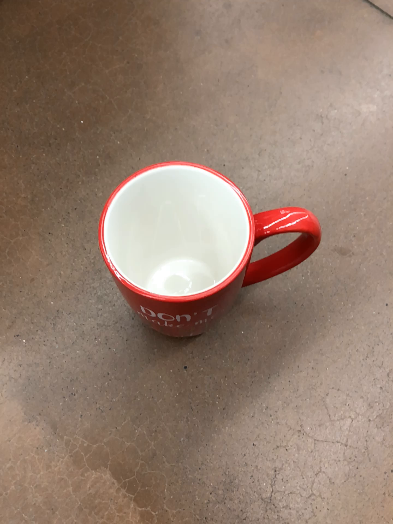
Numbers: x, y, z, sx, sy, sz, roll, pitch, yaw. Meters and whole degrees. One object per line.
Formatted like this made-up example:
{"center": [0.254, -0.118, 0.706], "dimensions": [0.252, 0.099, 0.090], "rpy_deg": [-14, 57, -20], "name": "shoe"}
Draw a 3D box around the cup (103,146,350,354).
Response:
{"center": [0.013, 0.001, 0.306], "dimensions": [0.130, 0.130, 0.090], "rpy_deg": [-4, 67, -2], "name": "cup"}
